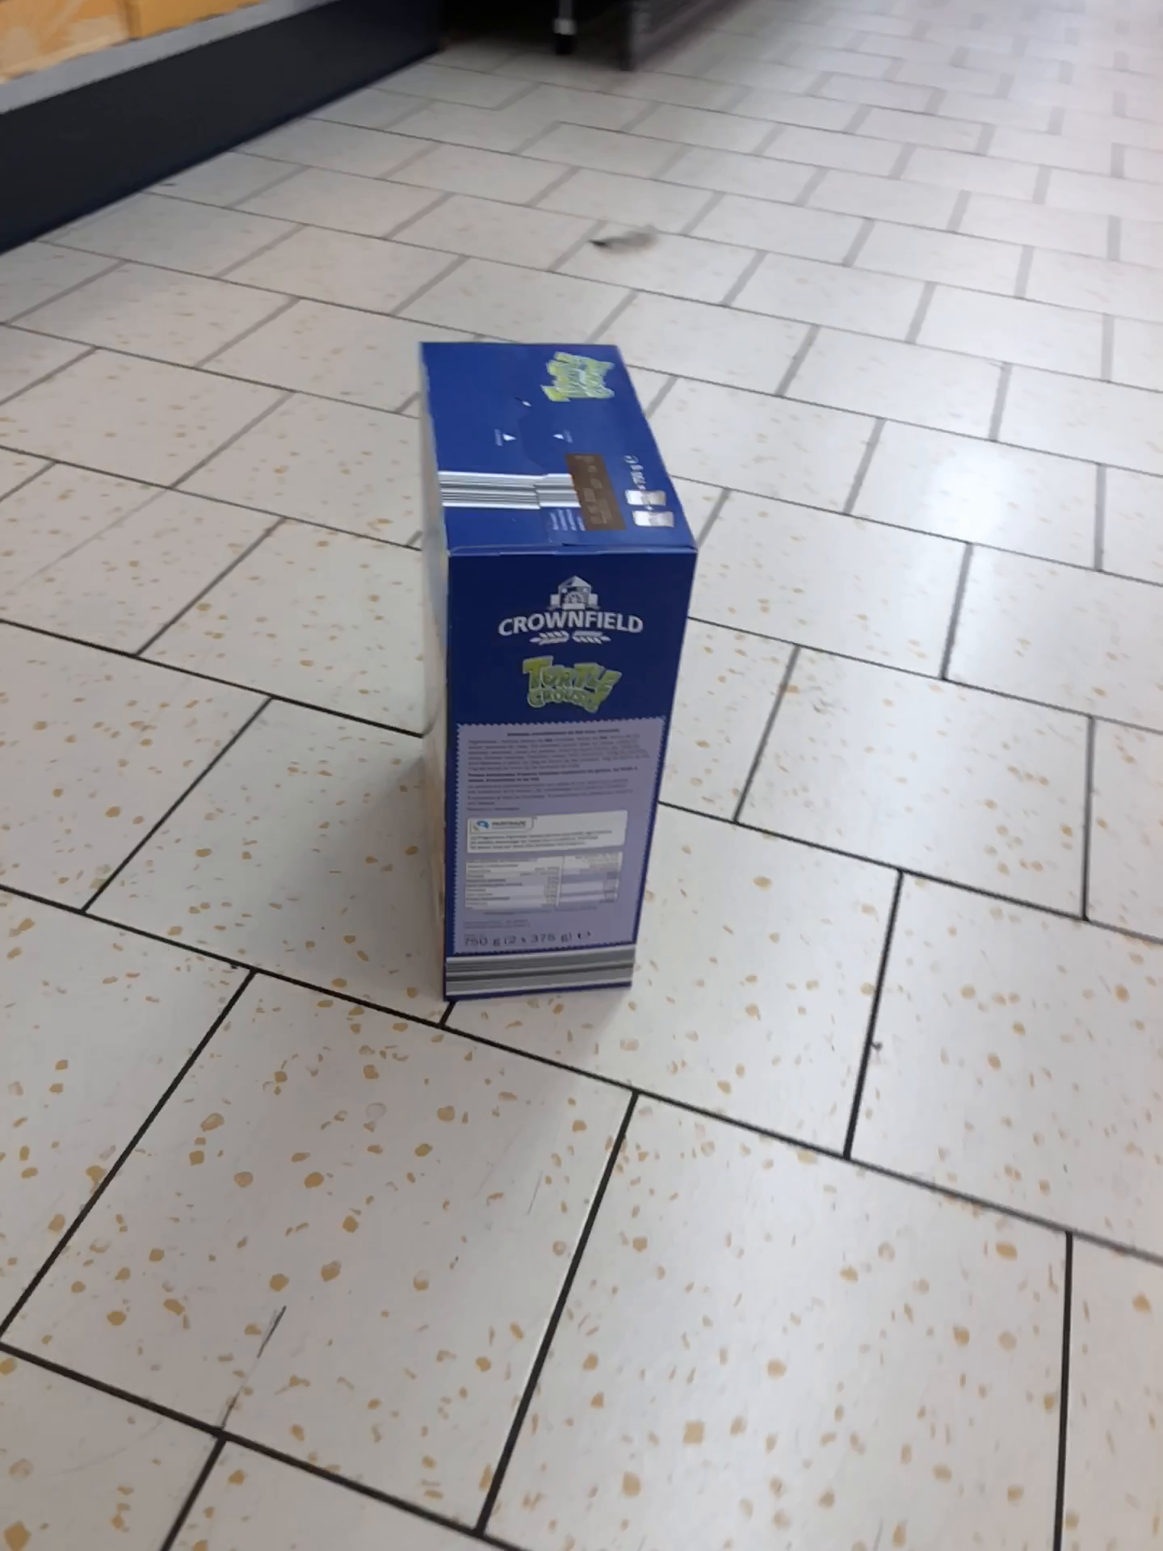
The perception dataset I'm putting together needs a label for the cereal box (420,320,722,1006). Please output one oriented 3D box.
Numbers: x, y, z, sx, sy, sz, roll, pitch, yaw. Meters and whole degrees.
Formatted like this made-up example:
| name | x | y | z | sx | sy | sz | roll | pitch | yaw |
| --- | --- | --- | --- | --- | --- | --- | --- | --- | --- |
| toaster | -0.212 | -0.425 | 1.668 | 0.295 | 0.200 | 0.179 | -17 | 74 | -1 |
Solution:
| name | x | y | z | sx | sy | sz | roll | pitch | yaw |
| --- | --- | --- | --- | --- | --- | --- | --- | --- | --- |
| cereal box | -0.022 | -0.054 | 0.619 | 0.100 | 0.258 | 0.201 | -2 | 40 | -9 |
